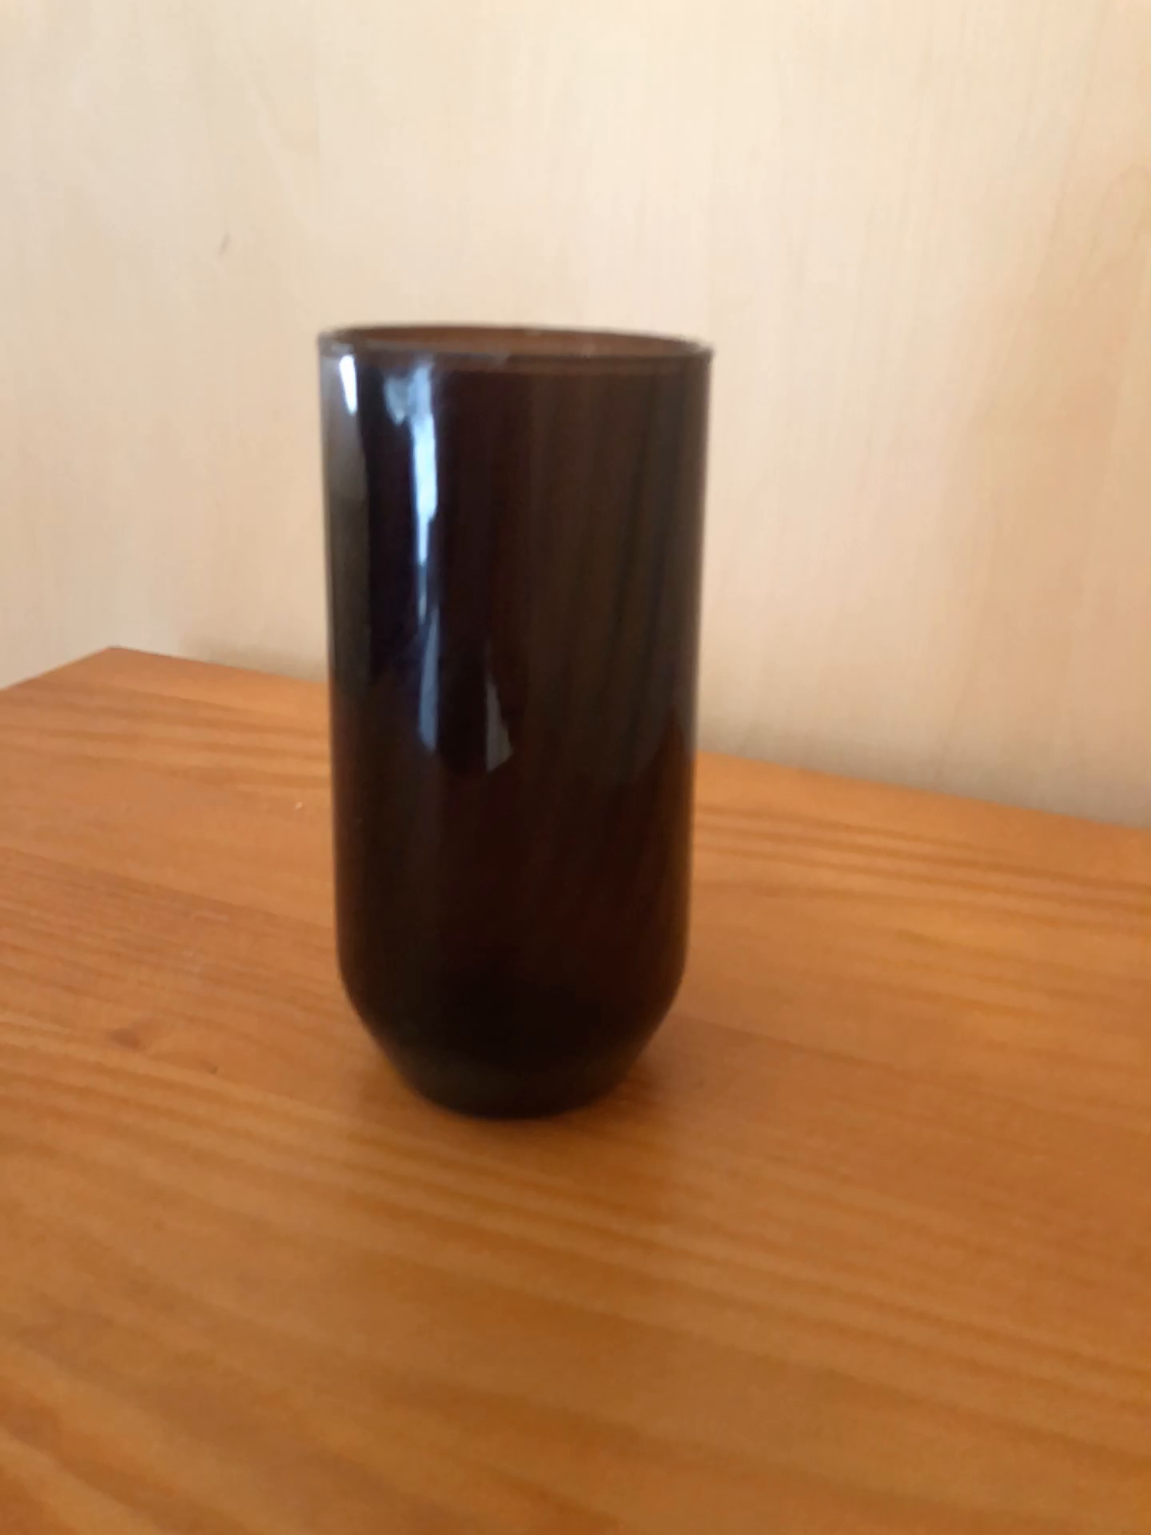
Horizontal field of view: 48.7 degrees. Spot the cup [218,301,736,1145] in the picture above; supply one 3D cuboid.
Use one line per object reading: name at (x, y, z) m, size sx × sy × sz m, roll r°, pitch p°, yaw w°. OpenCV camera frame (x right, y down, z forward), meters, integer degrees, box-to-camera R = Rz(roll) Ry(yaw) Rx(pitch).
cup at (-0.012, -0.010, 0.197) m, size 0.060 × 0.112 × 0.062 m, roll 2°, pitch 22°, yaw -1°
